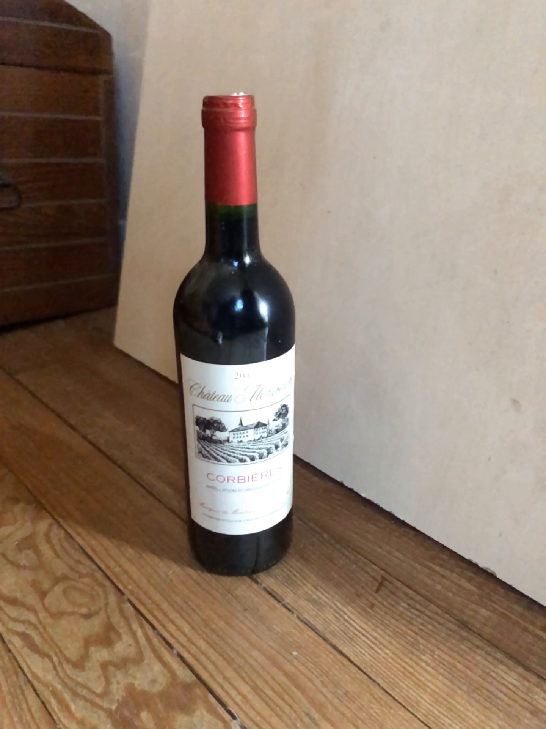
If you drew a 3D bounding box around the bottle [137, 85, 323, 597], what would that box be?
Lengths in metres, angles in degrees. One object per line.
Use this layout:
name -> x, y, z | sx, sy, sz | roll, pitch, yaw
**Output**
bottle -> -0.024, -0.004, 0.354 | 0.080, 0.288, 0.070 | -5, 26, -11
